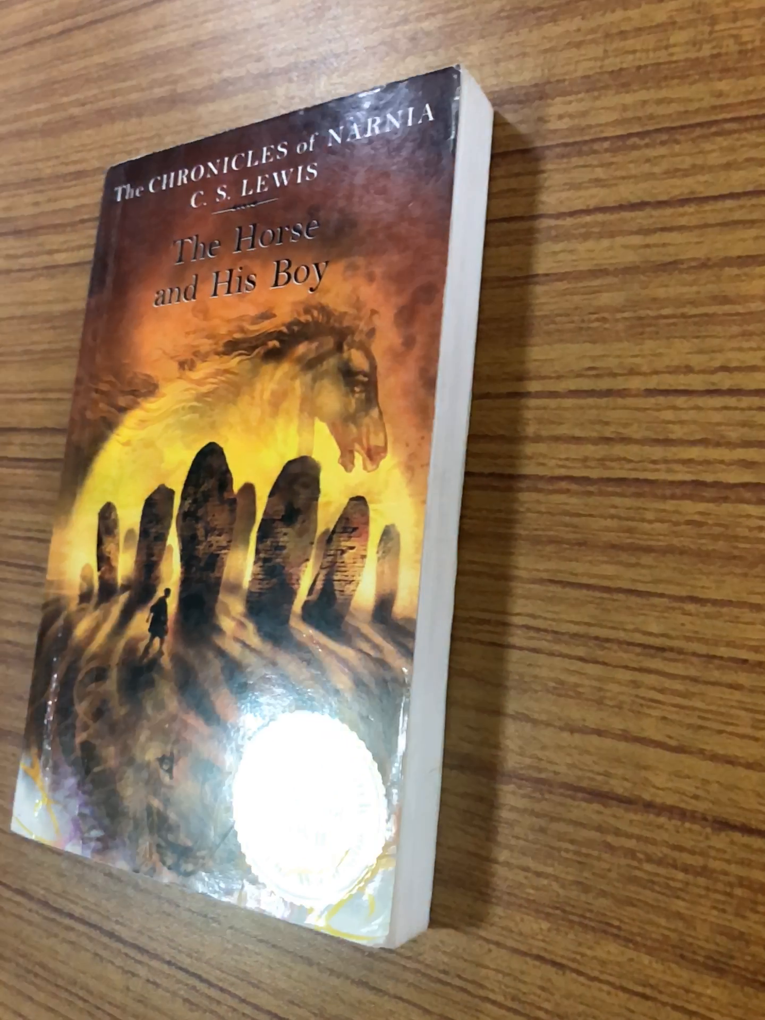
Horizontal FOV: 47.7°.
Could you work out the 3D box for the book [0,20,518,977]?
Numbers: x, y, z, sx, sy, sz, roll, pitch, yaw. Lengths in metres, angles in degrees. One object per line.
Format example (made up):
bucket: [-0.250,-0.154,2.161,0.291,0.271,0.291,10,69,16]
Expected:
book: [-0.035,-0.007,0.200,0.120,0.020,0.180,1,82,31]
